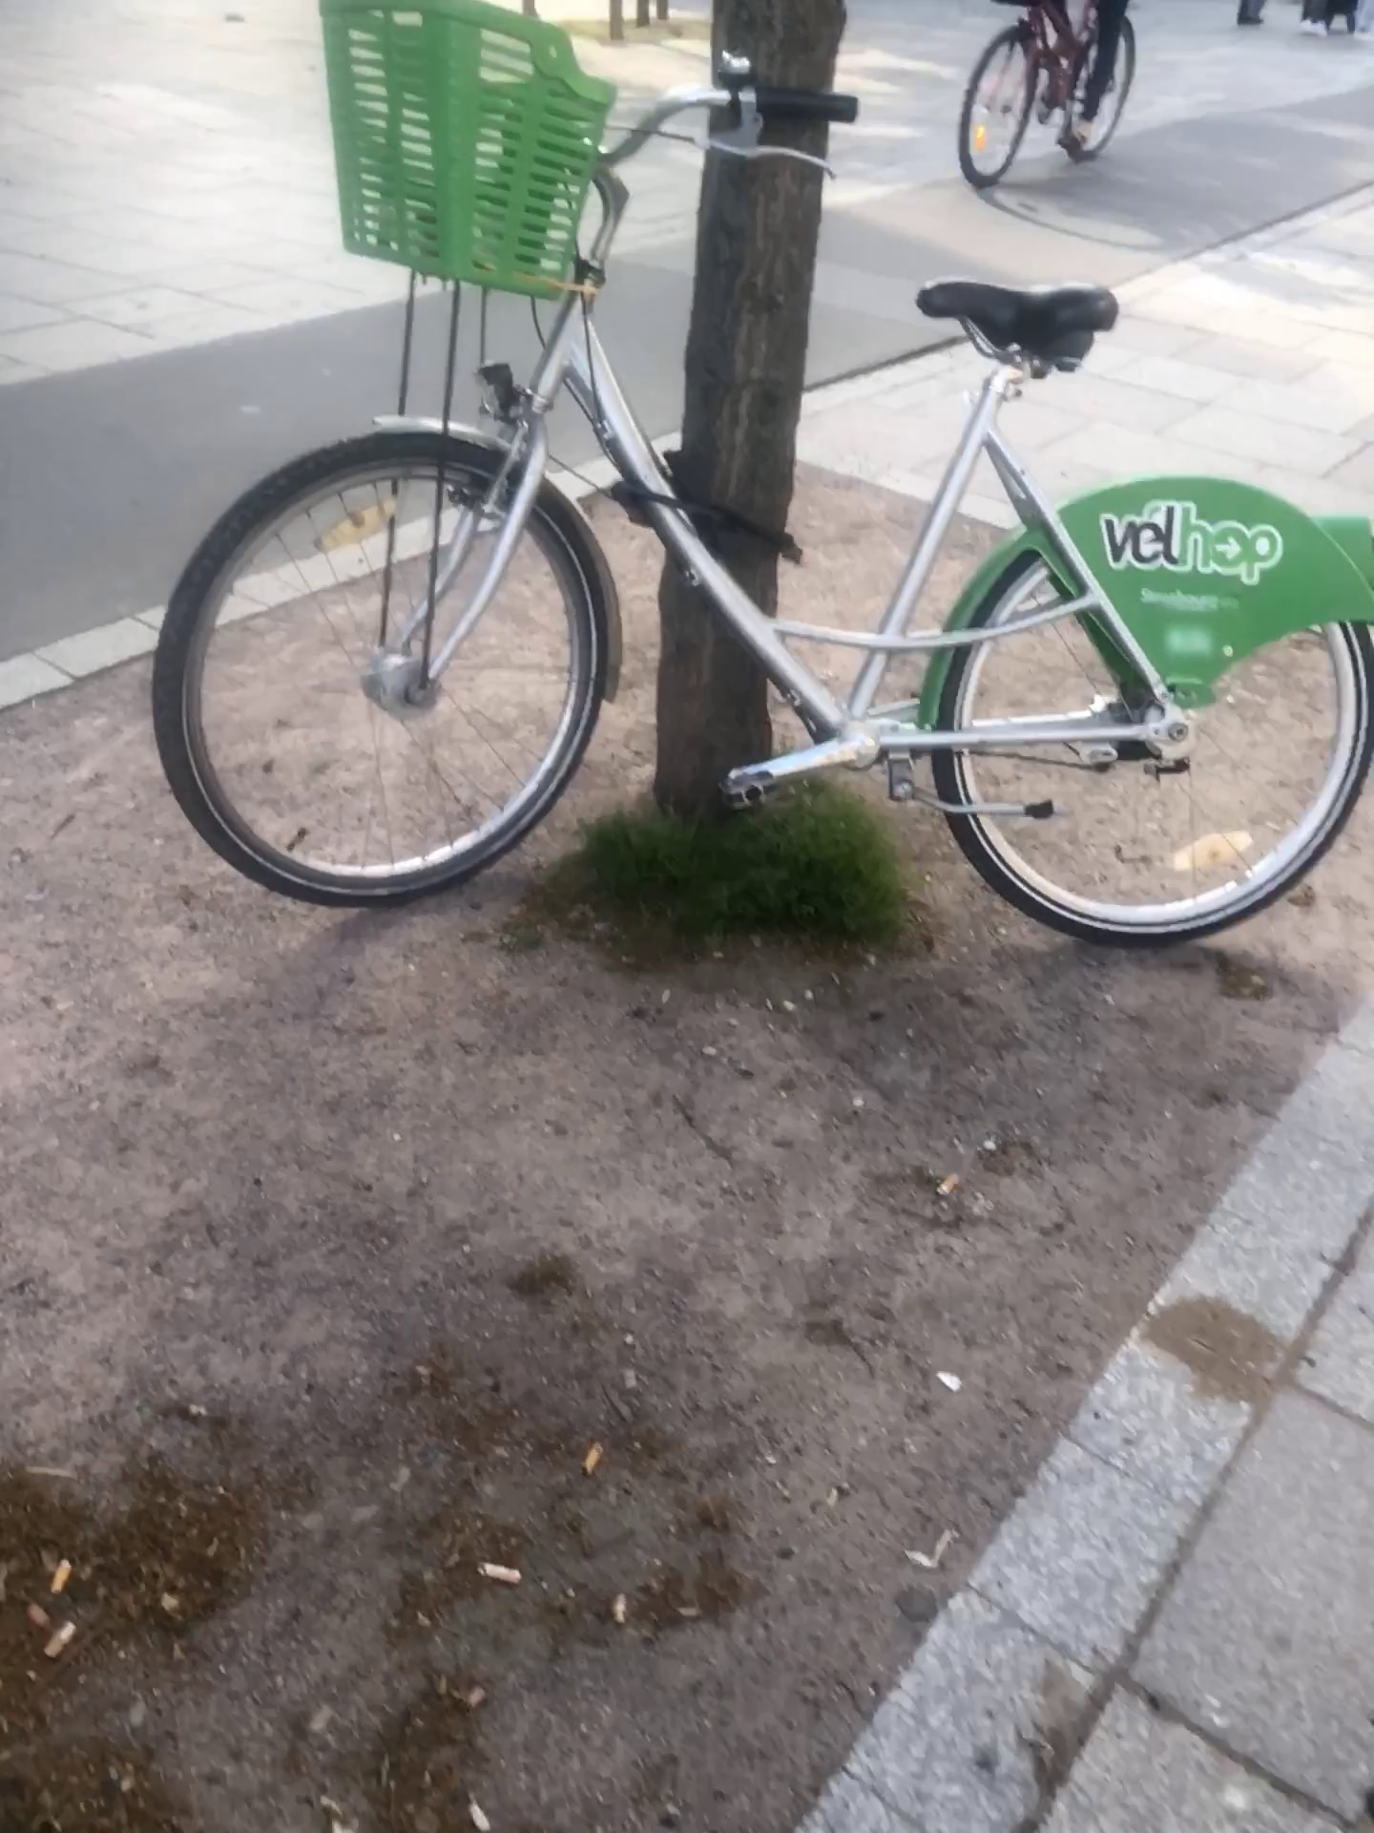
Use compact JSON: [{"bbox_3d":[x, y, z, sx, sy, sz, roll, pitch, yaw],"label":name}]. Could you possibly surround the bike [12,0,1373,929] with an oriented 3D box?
[{"bbox_3d":[0.177,-0.568,2.066,1.720,1.114,0.313,-3,35,-14],"label":"bike"}]
